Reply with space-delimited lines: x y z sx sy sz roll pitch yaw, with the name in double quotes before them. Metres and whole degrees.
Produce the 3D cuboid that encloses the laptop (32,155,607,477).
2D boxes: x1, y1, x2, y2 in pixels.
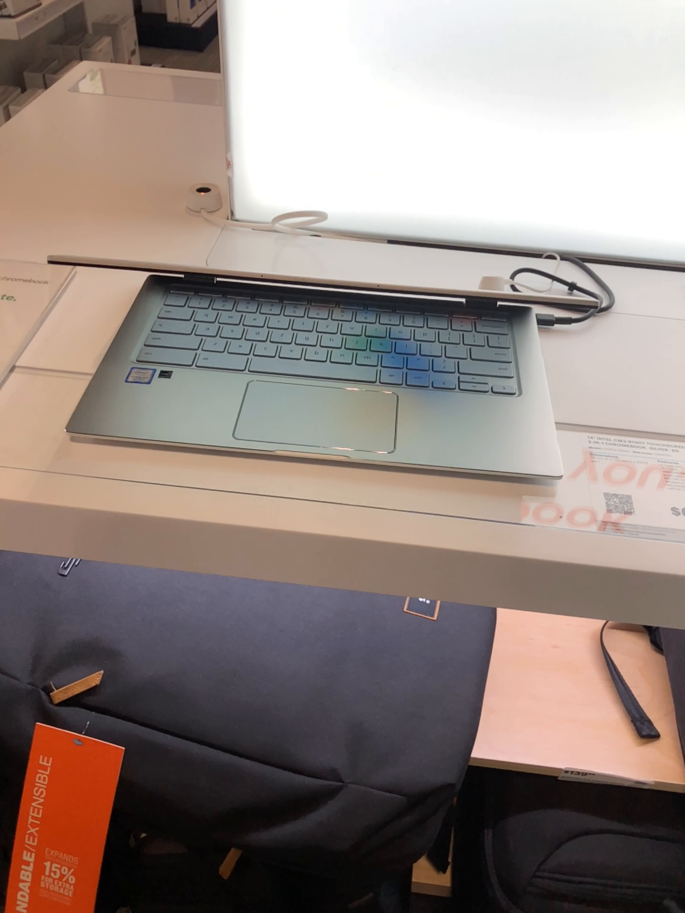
"laptop" -0.010 -0.105 0.508 0.311 0.101 0.194 5 43 4
